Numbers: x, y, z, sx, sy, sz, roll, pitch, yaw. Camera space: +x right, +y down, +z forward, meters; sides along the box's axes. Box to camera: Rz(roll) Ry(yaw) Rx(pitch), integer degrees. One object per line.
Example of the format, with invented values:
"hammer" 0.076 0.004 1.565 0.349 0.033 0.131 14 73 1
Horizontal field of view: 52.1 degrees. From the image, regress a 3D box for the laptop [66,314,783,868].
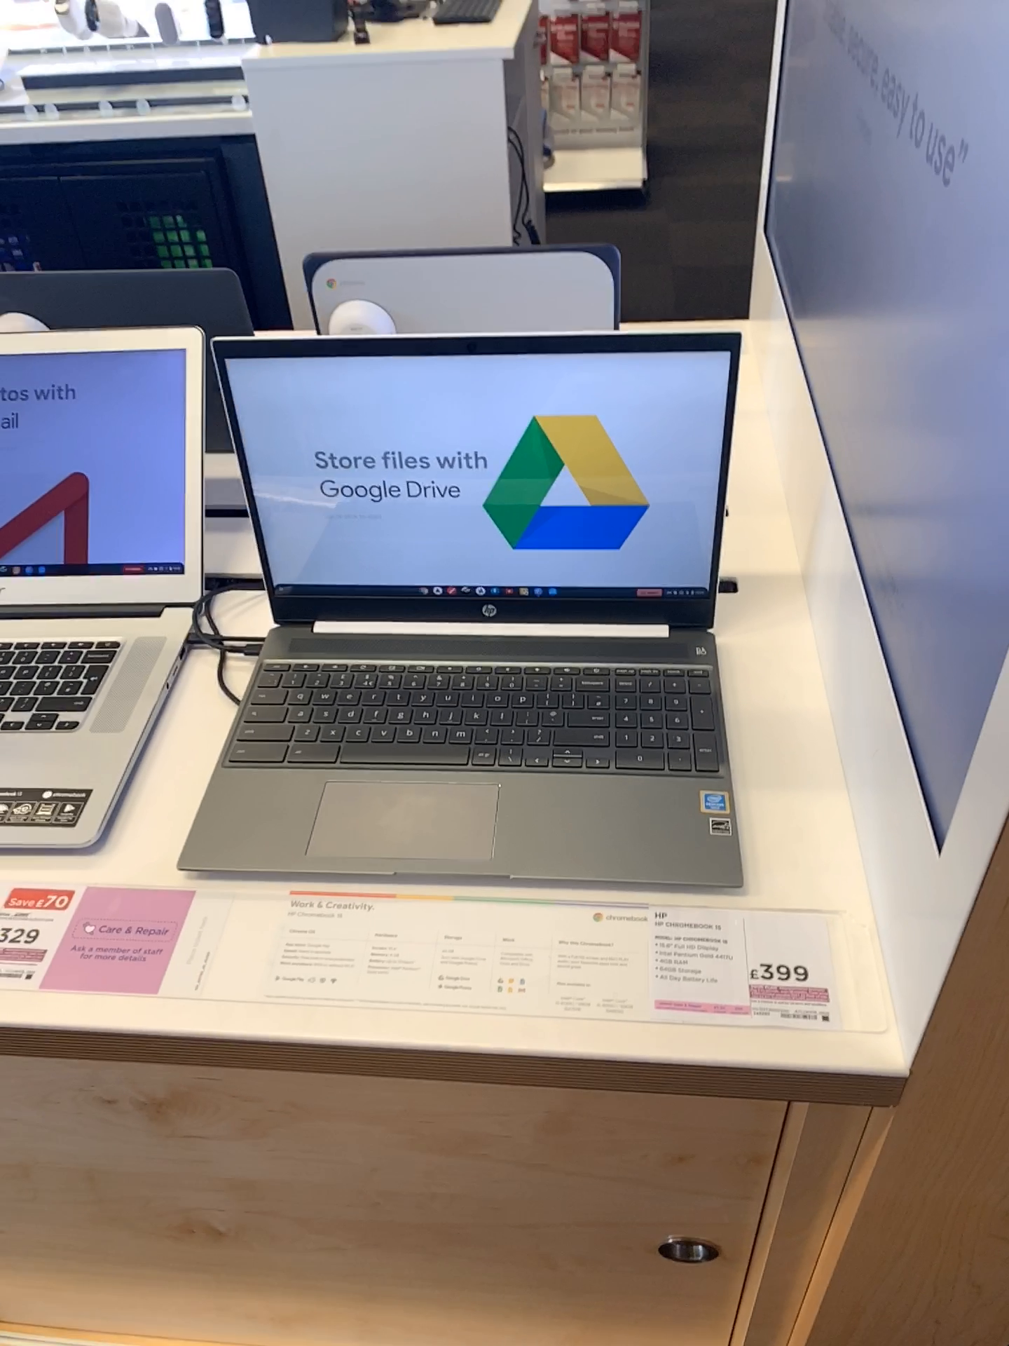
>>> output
"laptop" -0.029 -0.060 0.669 0.351 0.228 0.265 1 42 6
